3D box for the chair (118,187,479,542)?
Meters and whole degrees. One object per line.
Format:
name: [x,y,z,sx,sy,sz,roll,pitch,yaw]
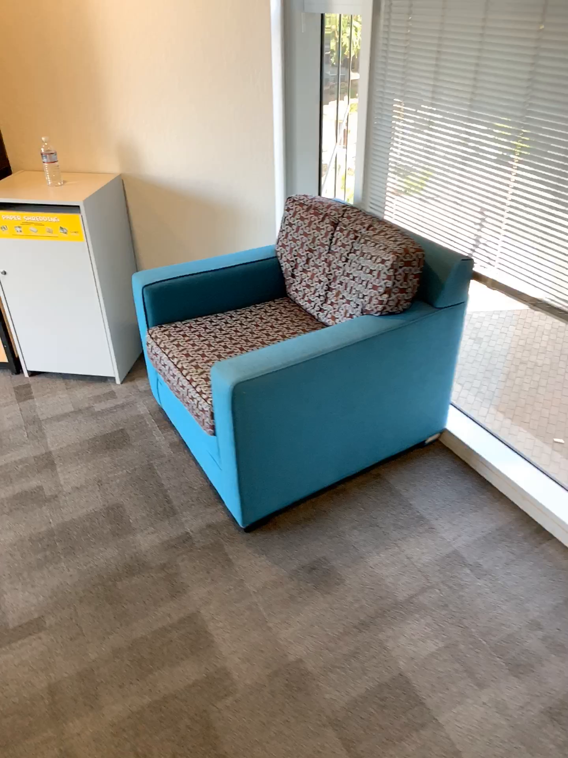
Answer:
chair: [0.008,-0.147,2.231,0.920,0.825,0.915,-18,36,-23]
